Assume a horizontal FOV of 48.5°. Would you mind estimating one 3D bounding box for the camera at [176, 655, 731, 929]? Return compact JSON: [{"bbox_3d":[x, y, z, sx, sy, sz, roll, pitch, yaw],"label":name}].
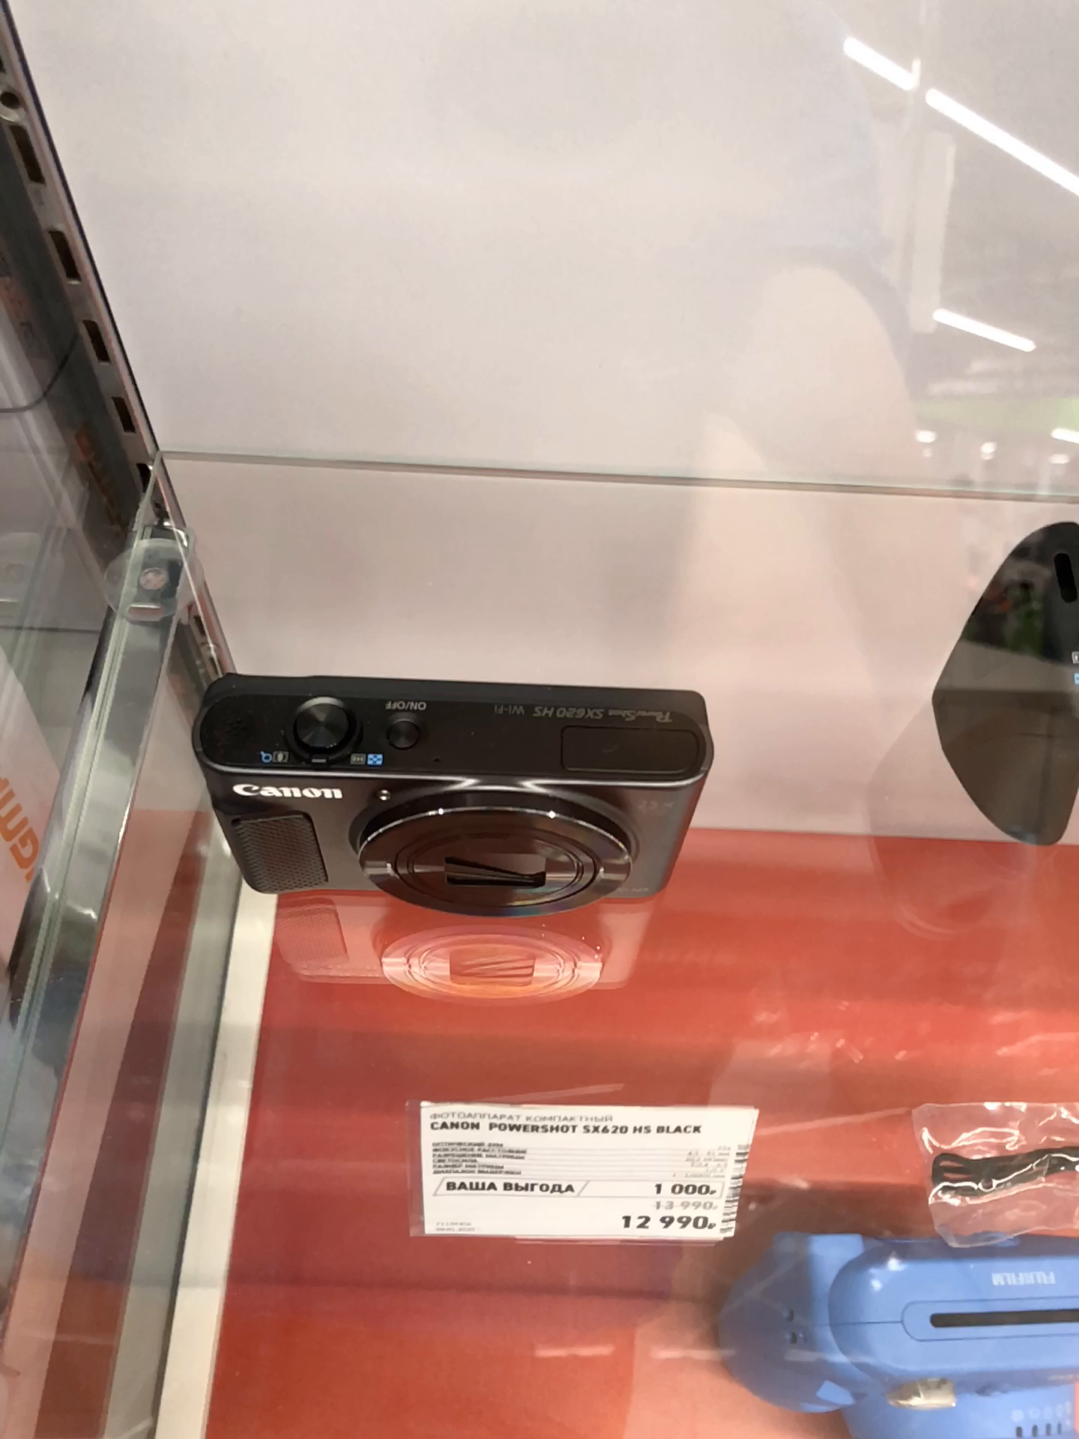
[{"bbox_3d":[-0.016,0.017,0.243,0.098,0.055,0.030,2,60,-1],"label":"camera"}]
